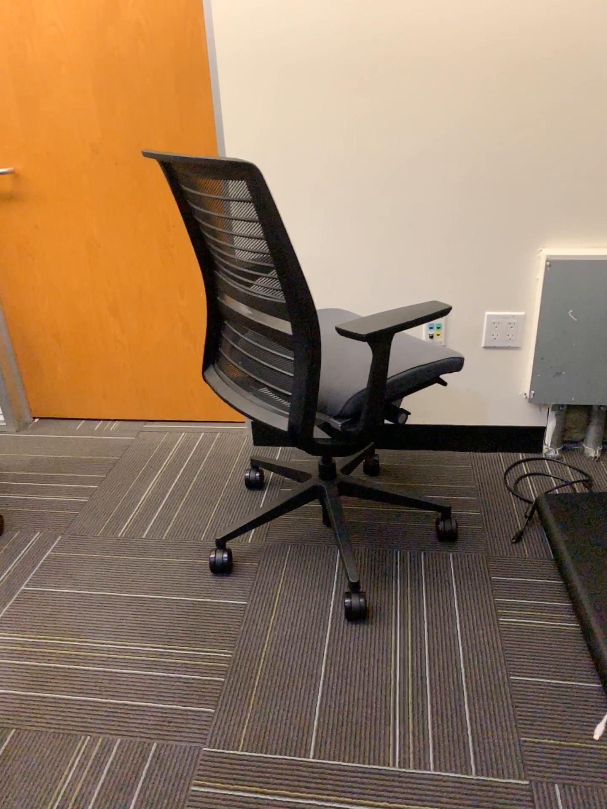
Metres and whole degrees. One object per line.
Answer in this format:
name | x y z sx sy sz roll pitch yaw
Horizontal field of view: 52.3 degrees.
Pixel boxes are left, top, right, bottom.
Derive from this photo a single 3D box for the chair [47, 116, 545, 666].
chair | 0.020 -0.144 1.548 0.743 0.994 0.781 19 34 38
